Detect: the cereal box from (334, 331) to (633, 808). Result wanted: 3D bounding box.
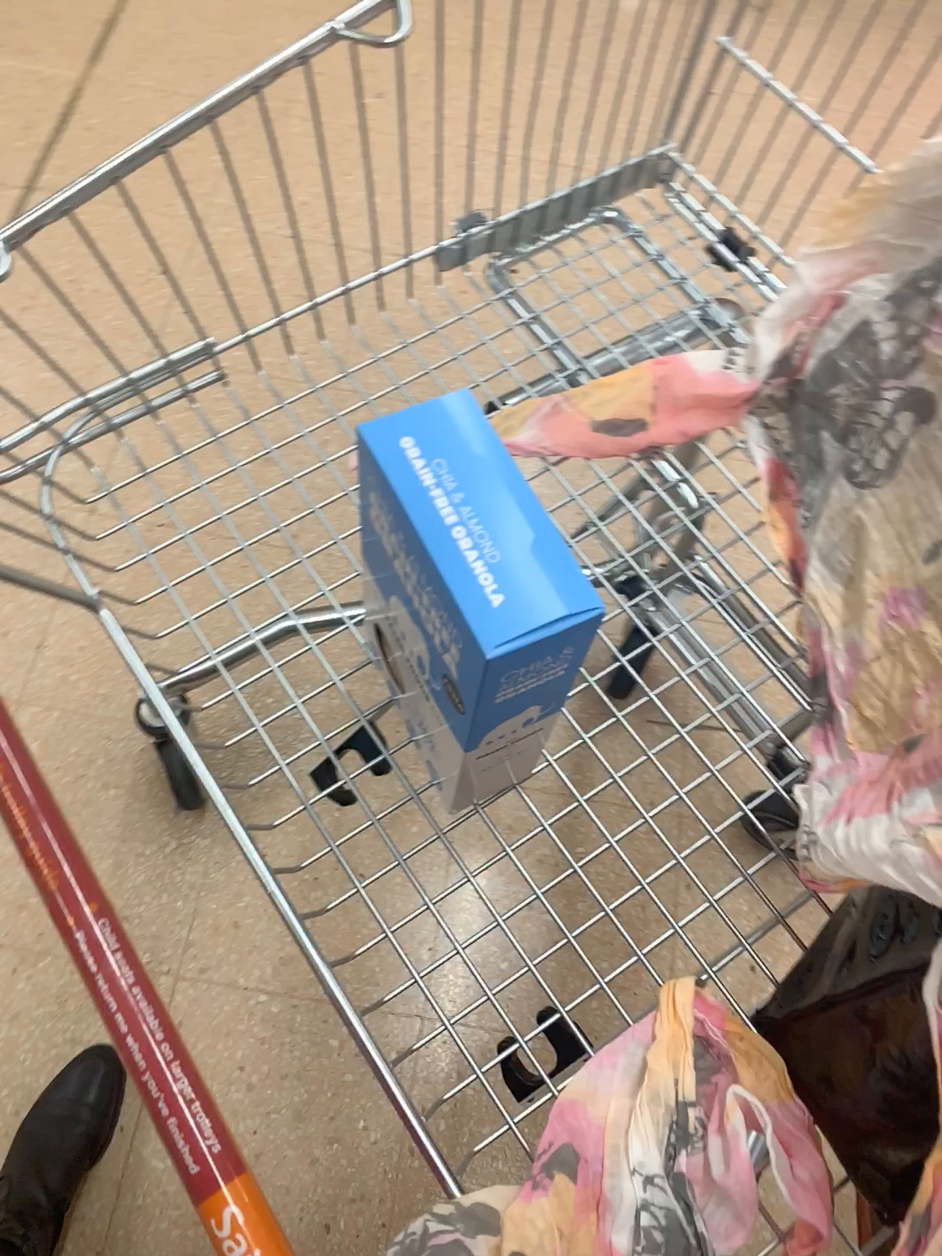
[{"bbox_3d":[-0.008,-0.014,0.472,0.060,0.209,0.140,-23,69,-16],"label":"cereal box"}]
